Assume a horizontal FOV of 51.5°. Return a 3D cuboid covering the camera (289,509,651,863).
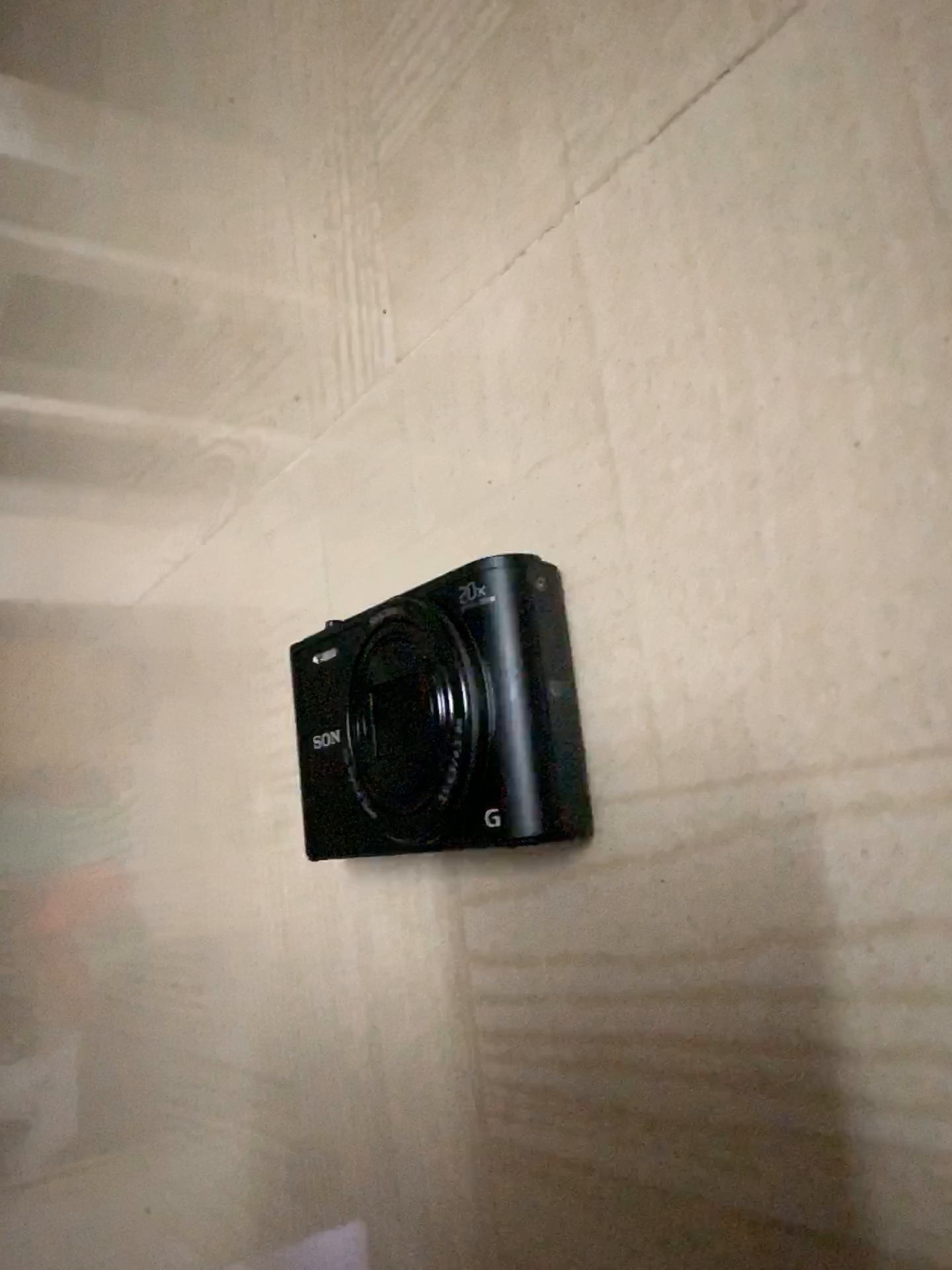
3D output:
[{"bbox_3d":[-0.008,0.017,0.215,0.093,0.024,0.060,-20,74,54],"label":"camera"}]
